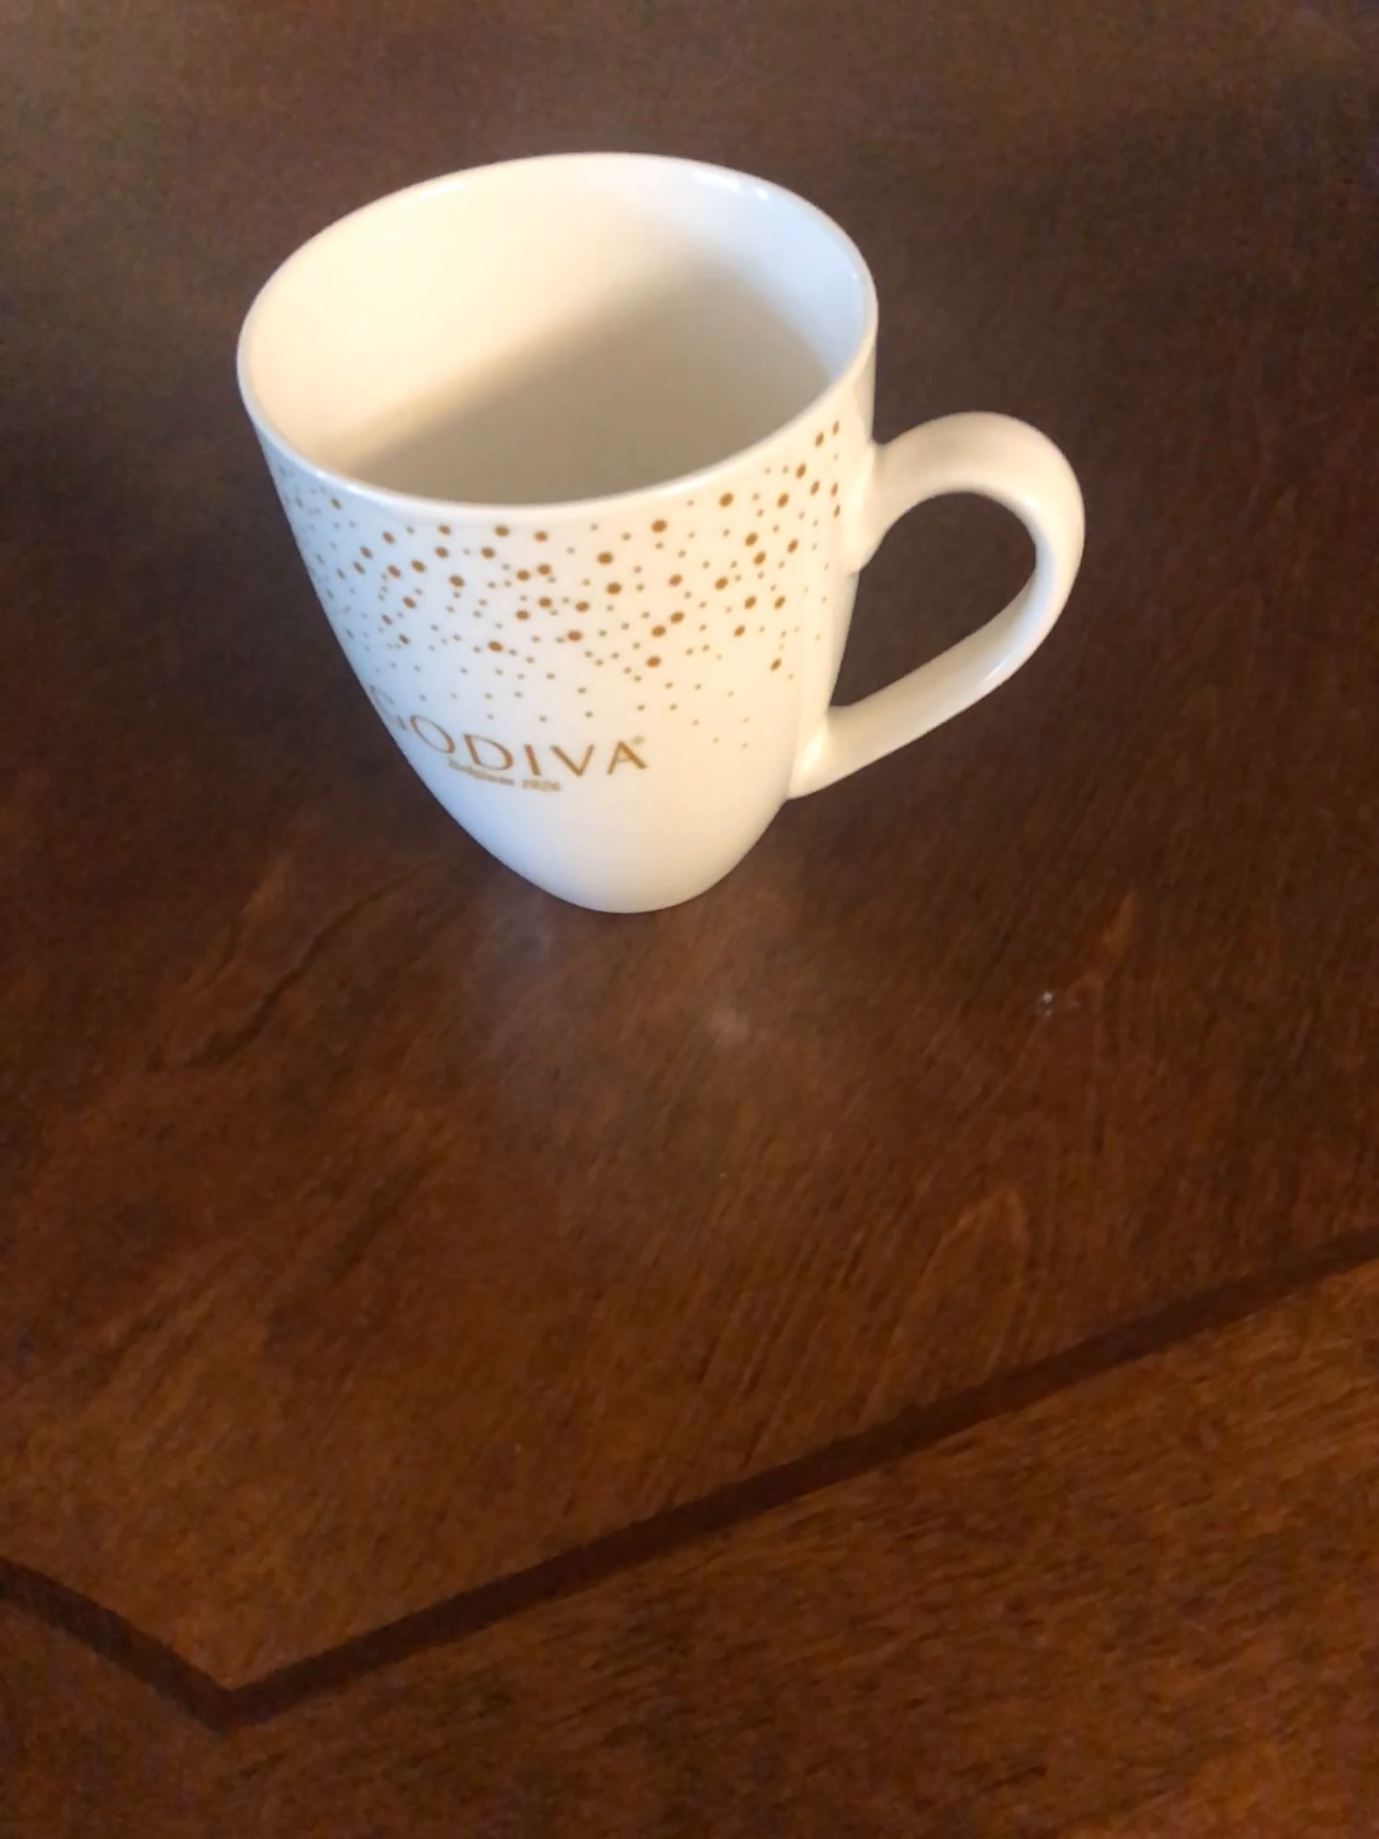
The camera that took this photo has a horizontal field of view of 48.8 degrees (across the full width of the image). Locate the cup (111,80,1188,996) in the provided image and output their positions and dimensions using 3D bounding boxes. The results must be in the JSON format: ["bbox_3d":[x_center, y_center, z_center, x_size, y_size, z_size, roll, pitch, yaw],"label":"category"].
[{"bbox_3d":[0.002,-0.068,0.269,0.140,0.099,0.100,11,56,12],"label":"cup"}]
